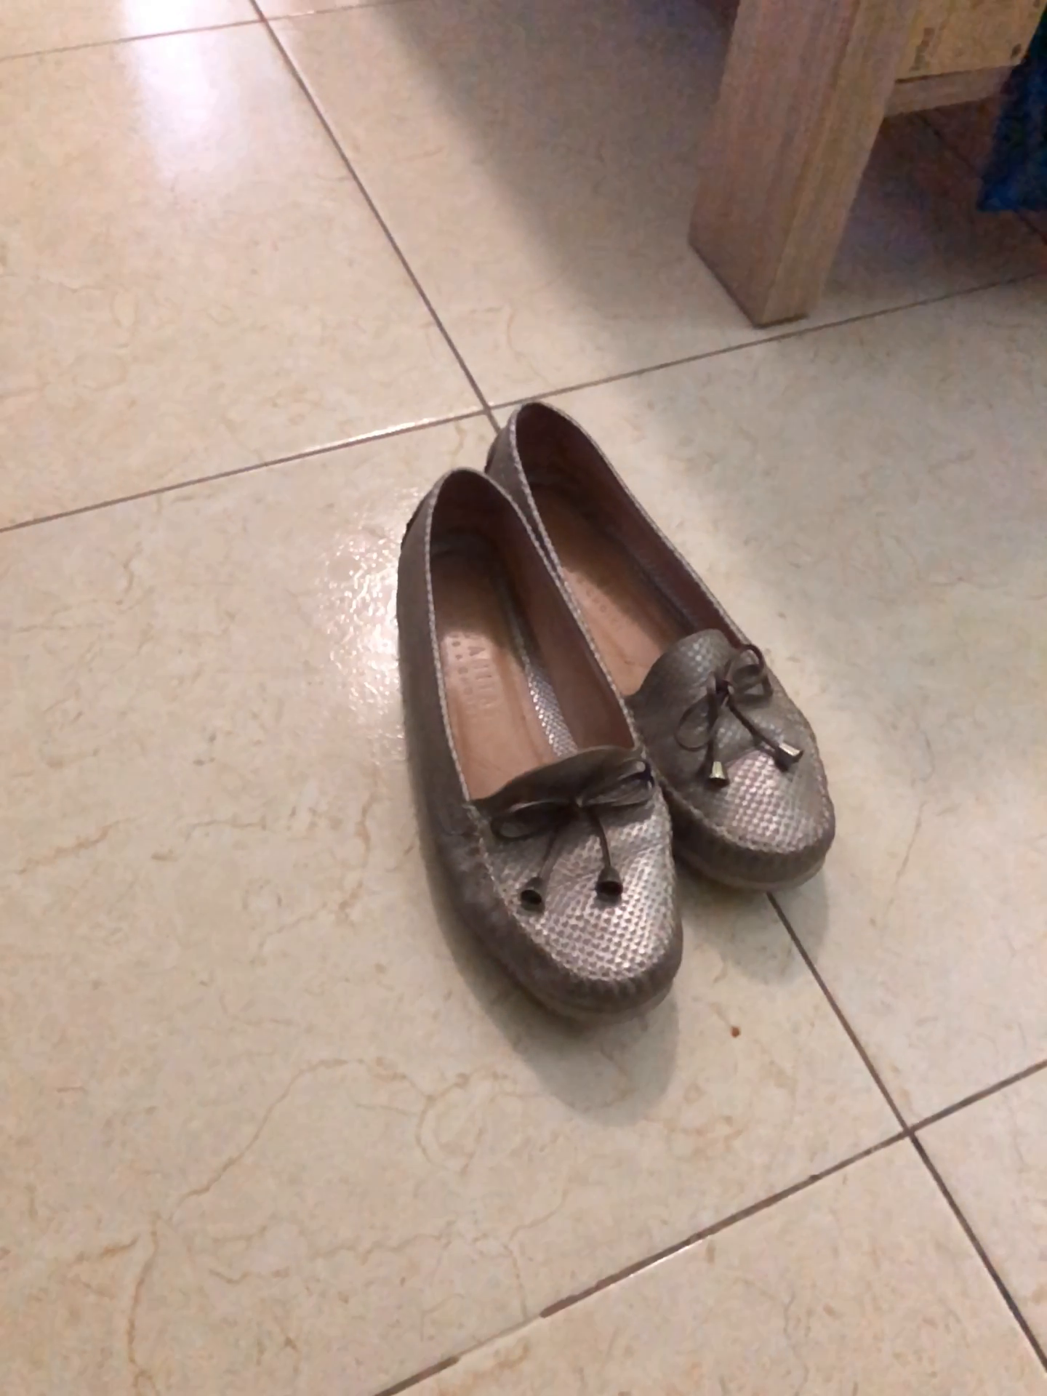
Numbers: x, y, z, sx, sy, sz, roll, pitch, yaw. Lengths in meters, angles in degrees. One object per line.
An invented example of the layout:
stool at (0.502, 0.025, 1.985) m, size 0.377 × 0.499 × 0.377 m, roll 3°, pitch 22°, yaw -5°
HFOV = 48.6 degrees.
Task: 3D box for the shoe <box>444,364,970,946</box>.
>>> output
shoe at (0.071, -0.032, 0.556) m, size 0.100 × 0.080 × 0.270 m, roll -24°, pitch 62°, yaw -19°

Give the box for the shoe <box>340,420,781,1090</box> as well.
shoe at (0.001, 0.011, 0.542) m, size 0.100 × 0.080 × 0.301 m, roll -14°, pitch 59°, yaw -13°
